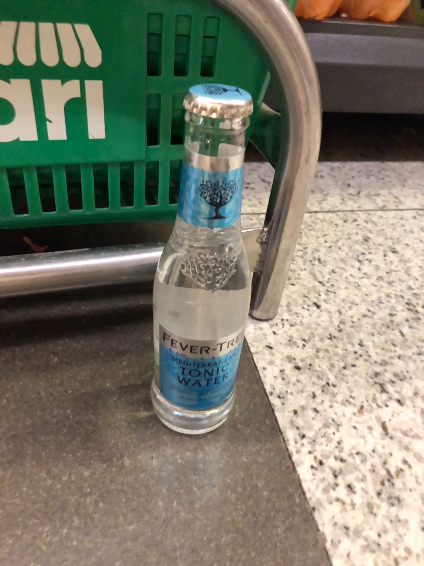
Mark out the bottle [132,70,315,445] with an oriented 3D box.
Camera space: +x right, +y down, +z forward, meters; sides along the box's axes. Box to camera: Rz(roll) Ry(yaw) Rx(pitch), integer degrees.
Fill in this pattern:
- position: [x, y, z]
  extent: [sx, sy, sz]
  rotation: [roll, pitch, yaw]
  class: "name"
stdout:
- position: [-0.006, -0.001, 0.241]
  extent: [0.060, 0.188, 0.050]
  rotation: [-6, 38, -16]
  class: "bottle"
